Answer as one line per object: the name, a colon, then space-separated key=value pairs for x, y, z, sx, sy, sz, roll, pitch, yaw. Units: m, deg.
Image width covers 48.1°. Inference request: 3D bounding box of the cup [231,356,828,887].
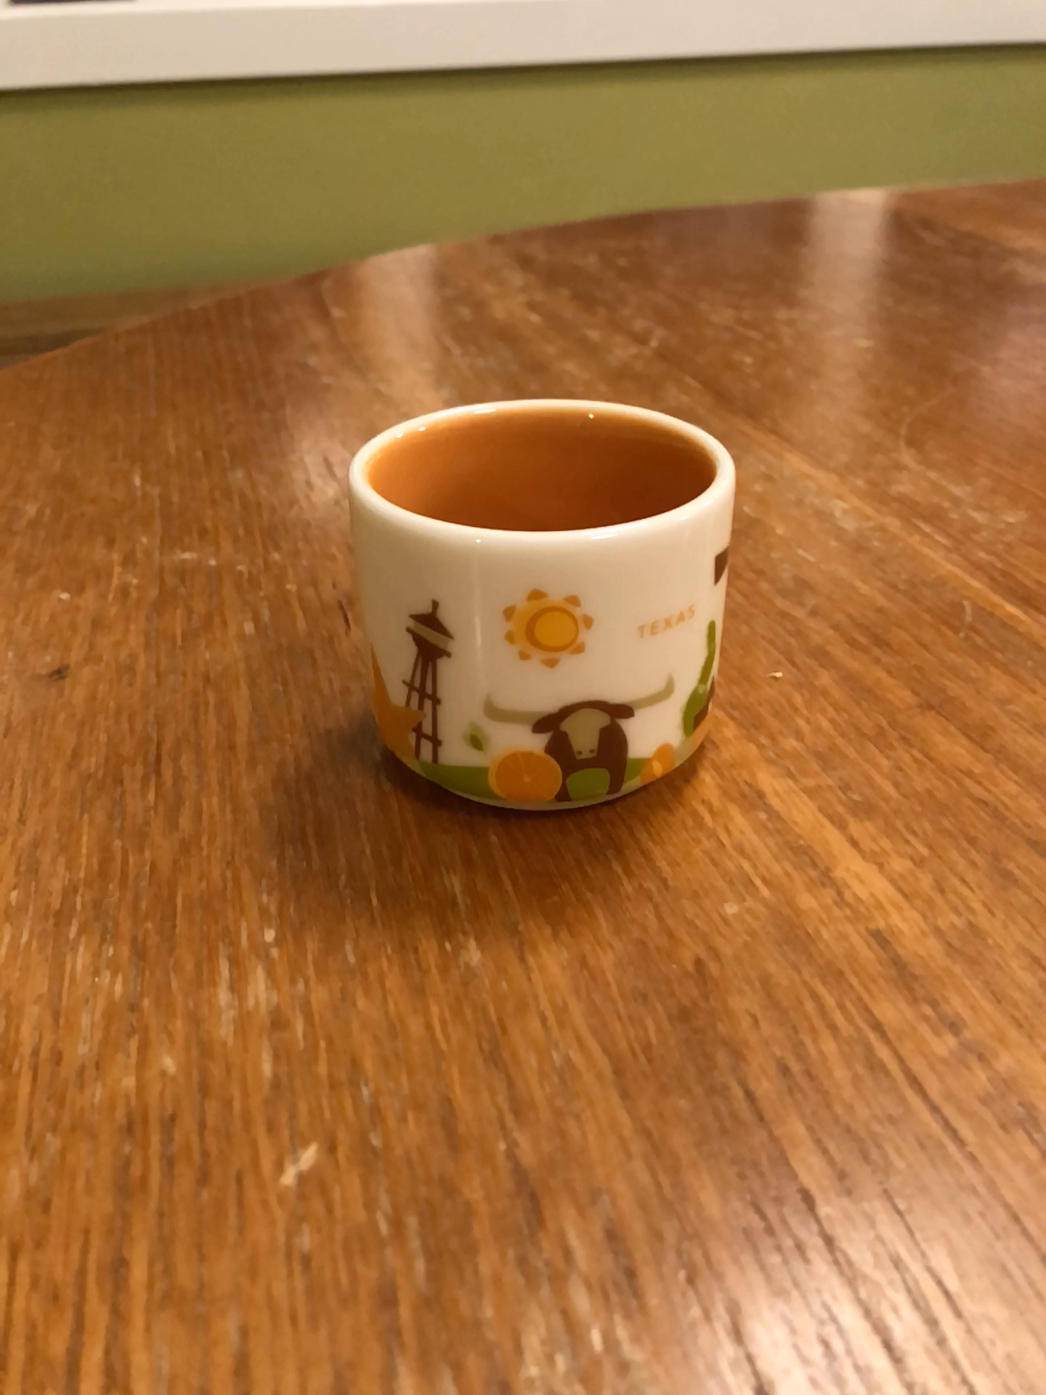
cup: x=0.004 y=-0.020 z=0.201 sx=0.059 sy=0.049 sz=0.080 roll=21 pitch=39 yaw=32
